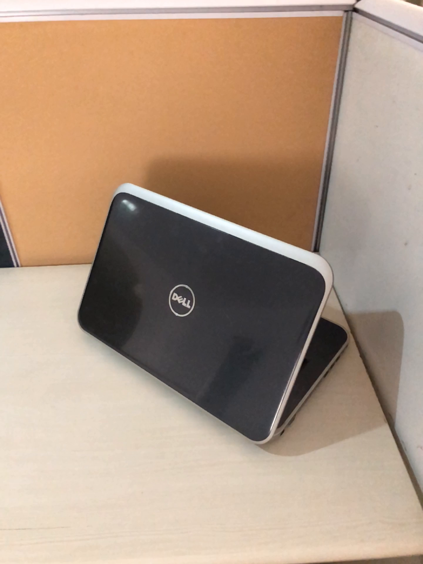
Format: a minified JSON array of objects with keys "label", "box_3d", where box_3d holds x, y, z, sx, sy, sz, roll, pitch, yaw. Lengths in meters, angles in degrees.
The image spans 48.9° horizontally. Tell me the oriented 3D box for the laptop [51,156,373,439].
[{"label":"laptop","box_3d":[-0.003,-0.007,0.677,0.348,0.192,0.241,26,46,30]}]
